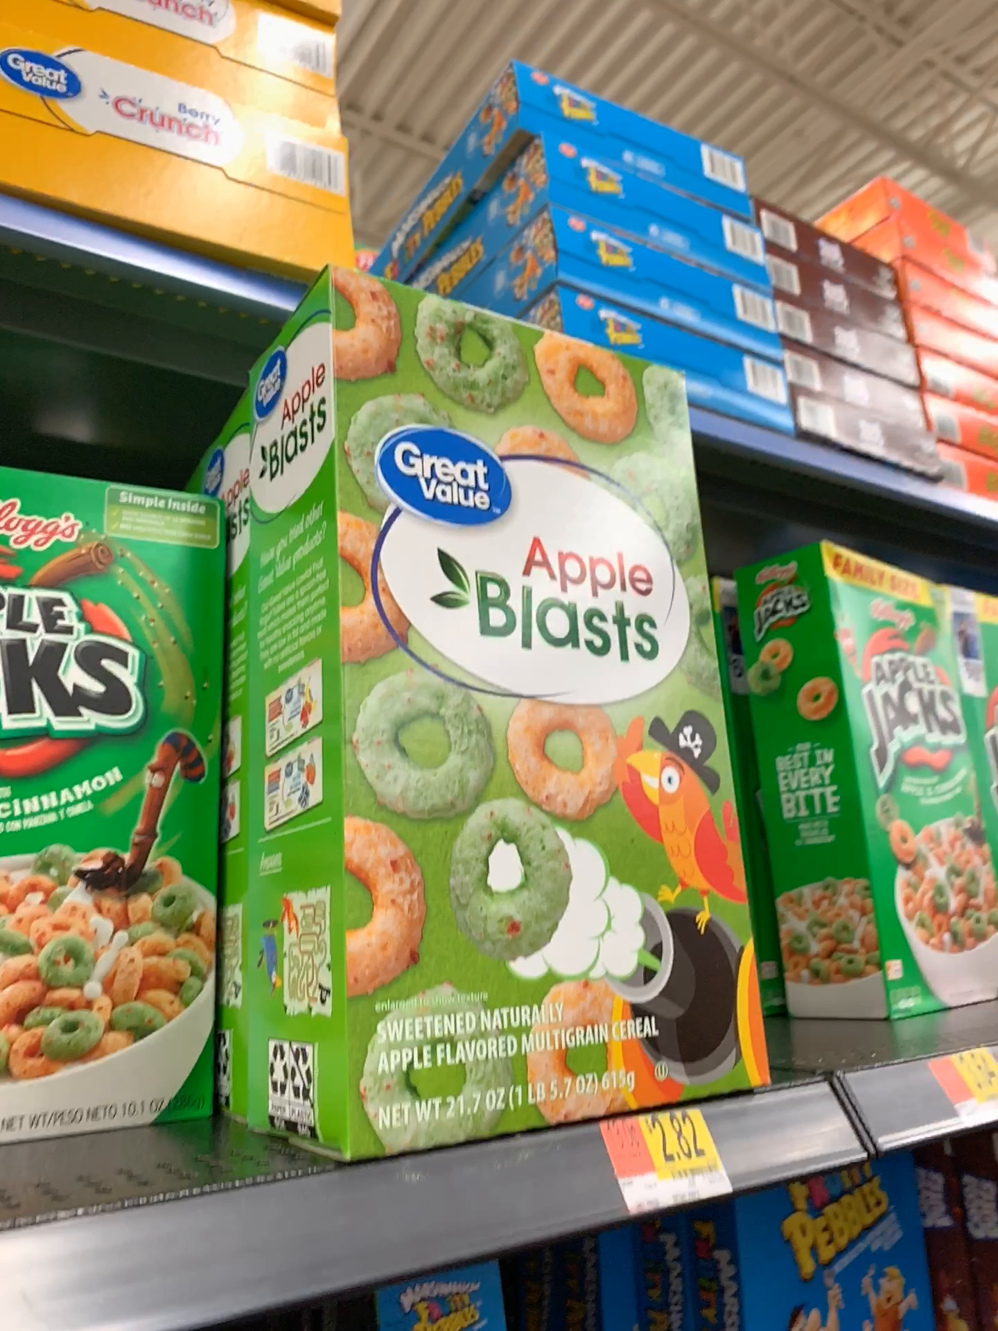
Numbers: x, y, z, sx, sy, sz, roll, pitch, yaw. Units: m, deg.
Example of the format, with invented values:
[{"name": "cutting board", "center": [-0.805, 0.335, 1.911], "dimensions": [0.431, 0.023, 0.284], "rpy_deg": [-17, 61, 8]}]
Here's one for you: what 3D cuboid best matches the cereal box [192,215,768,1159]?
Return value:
[{"name": "cereal box", "center": [-0.013, 0.009, 0.444], "dimensions": [0.200, 0.331, 0.100], "rpy_deg": [7, -19, -33]}]
